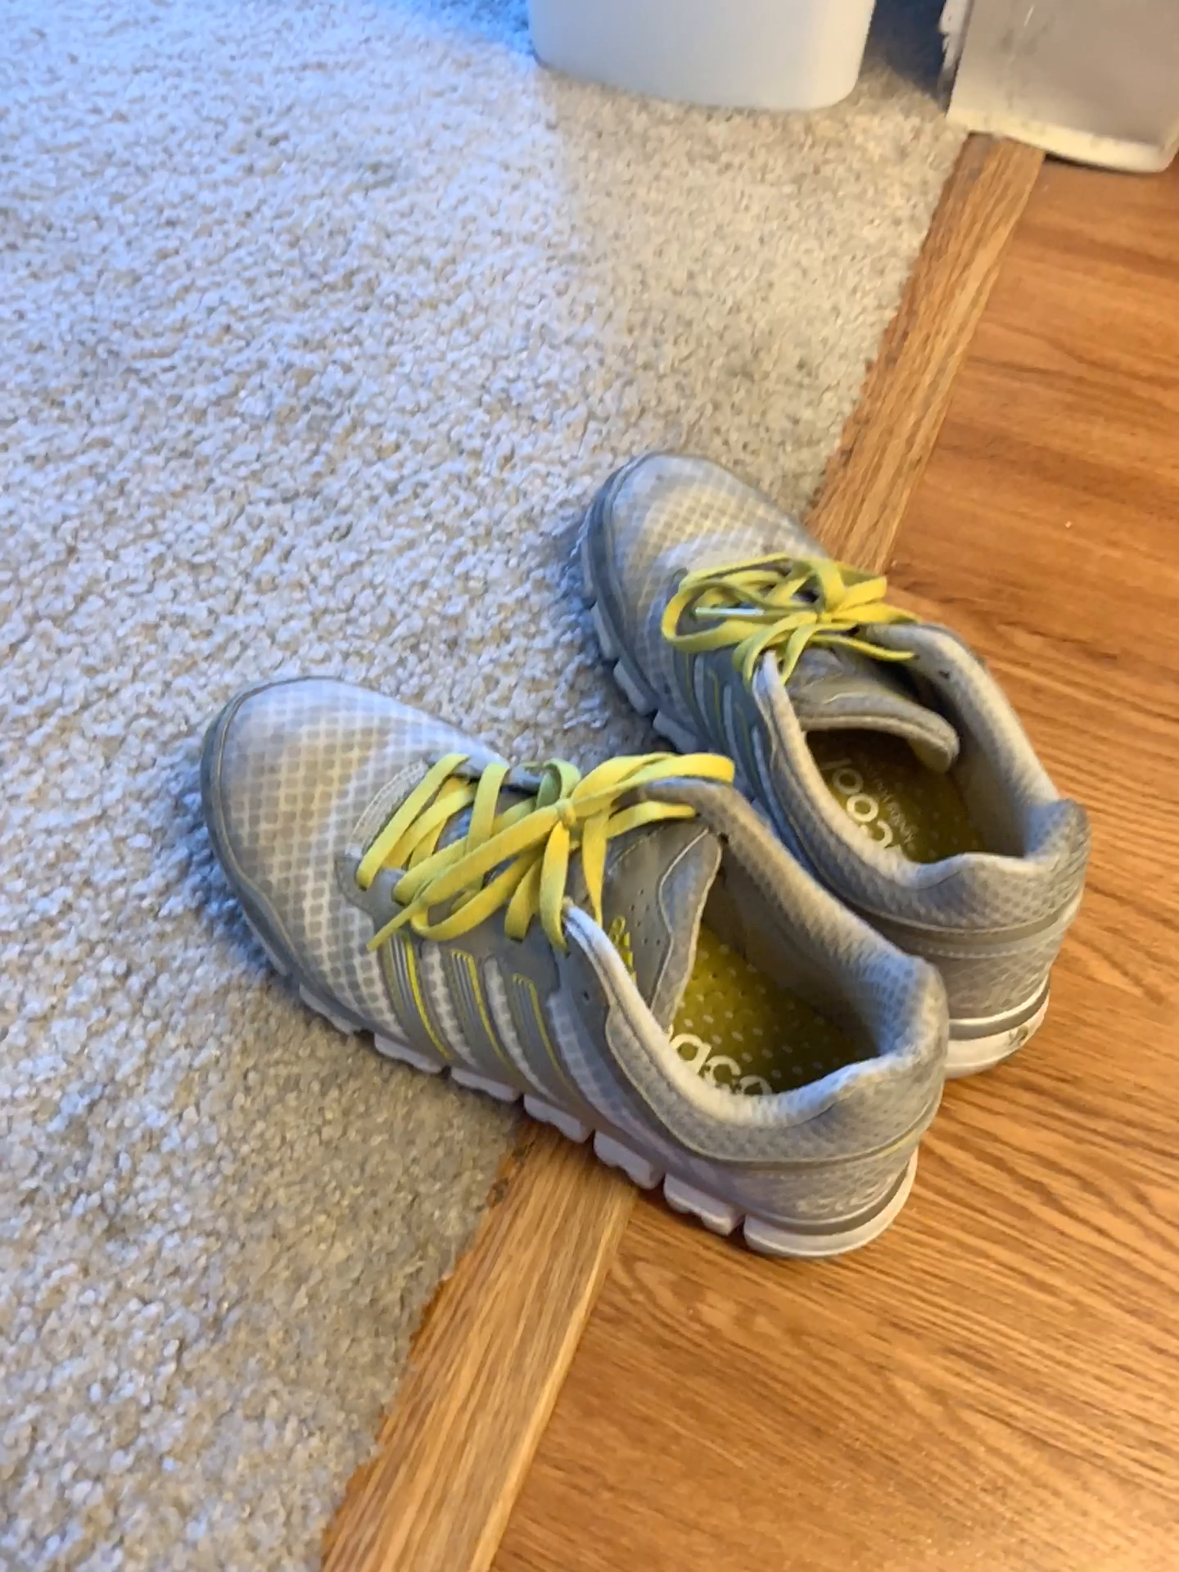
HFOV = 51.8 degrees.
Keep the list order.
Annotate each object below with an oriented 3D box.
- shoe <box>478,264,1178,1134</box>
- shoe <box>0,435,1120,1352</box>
[{"bbox_3d":[0.071,-0.039,0.380,0.090,0.090,0.261,-28,61,-11],"label":"shoe"},{"bbox_3d":[-0.019,0.028,0.321,0.250,0.129,0.080,29,60,16],"label":"shoe"}]
